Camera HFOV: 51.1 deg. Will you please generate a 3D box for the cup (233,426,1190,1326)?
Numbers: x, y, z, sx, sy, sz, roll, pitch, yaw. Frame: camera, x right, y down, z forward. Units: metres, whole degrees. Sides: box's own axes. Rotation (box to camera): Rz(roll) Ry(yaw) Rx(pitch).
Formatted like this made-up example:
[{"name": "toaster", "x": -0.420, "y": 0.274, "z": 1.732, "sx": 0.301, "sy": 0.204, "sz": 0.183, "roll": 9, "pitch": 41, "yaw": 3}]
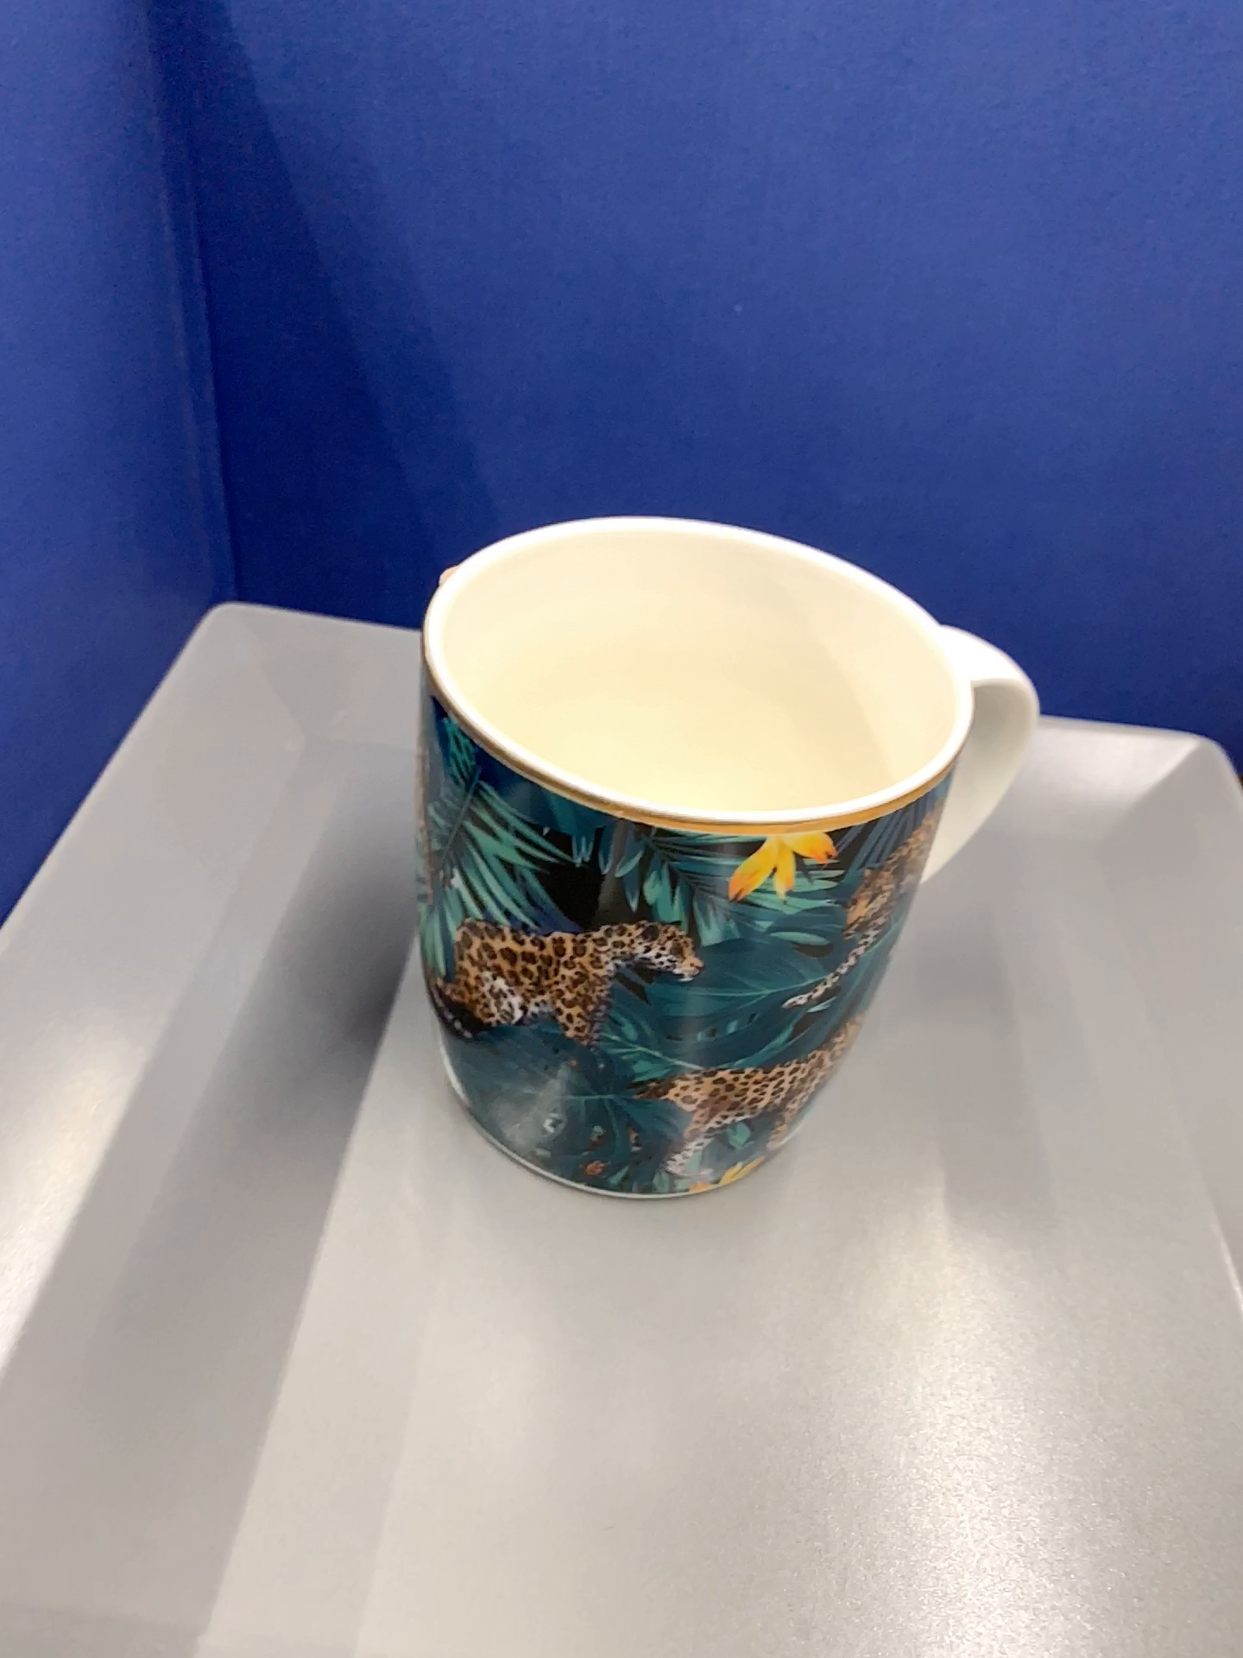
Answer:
[{"name": "cup", "x": 0.013, "y": -0.004, "z": 0.236, "sx": 0.126, "sy": 0.091, "sz": 0.093, "roll": -23, "pitch": 45, "yaw": -33}]
